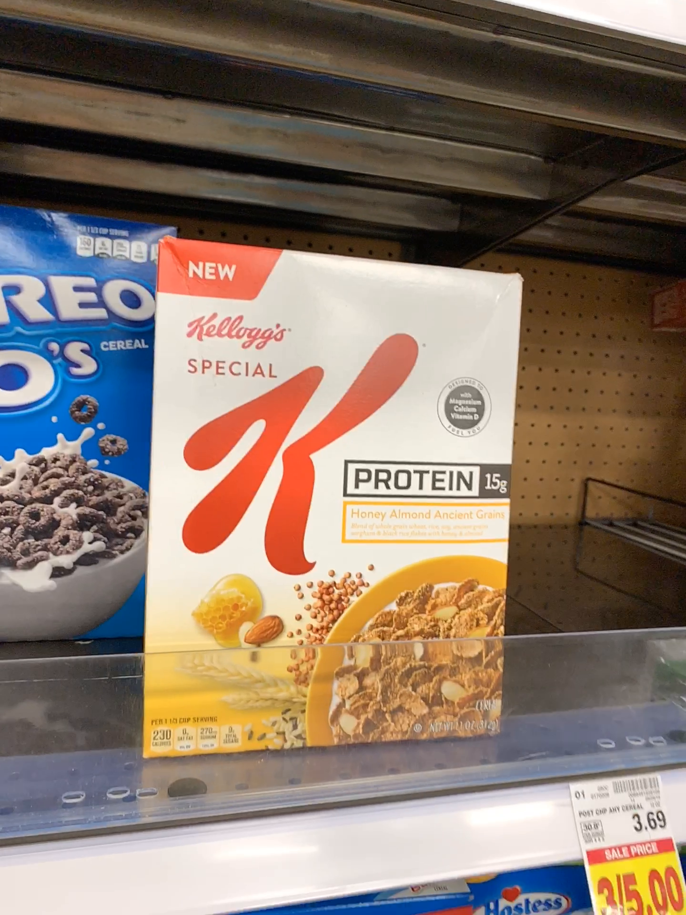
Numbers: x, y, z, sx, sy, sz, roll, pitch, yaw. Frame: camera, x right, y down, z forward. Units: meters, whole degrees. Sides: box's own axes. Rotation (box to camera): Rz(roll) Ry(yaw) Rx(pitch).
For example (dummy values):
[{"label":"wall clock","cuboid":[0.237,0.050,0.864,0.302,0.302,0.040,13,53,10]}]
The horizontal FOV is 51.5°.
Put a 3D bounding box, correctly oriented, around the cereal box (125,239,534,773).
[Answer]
[{"label":"cereal box","cuboid":[-0.006,0.026,0.375,0.200,0.250,0.040,2,3,-14]}]
